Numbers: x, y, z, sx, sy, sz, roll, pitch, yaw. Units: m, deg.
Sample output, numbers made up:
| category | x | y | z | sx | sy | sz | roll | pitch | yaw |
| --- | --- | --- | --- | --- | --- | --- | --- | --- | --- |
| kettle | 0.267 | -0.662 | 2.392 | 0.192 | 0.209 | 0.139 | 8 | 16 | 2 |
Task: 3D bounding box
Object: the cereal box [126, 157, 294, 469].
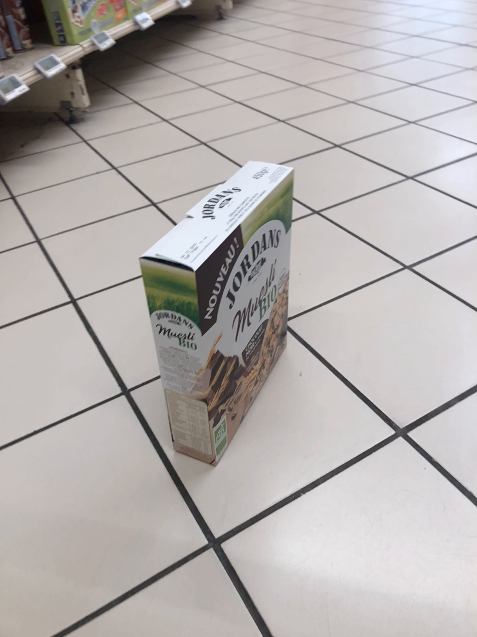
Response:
| category | x | y | z | sx | sy | sz | roll | pitch | yaw |
| --- | --- | --- | --- | --- | --- | --- | --- | --- | --- |
| cereal box | -0.007 | -0.008 | 0.482 | 0.050 | 0.209 | 0.191 | 14 | 42 | 22 |
